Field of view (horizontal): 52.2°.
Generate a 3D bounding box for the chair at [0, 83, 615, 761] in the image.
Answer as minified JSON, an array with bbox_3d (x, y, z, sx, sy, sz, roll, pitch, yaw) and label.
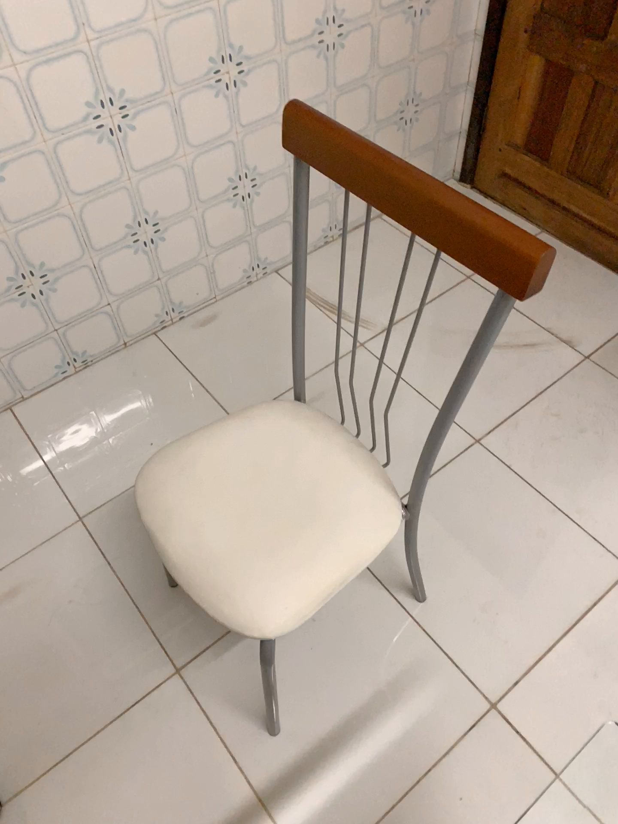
[{"bbox_3d":[-0.026,0.090,1.014,0.511,0.886,0.481,-32,58,-21],"label":"chair"}]
